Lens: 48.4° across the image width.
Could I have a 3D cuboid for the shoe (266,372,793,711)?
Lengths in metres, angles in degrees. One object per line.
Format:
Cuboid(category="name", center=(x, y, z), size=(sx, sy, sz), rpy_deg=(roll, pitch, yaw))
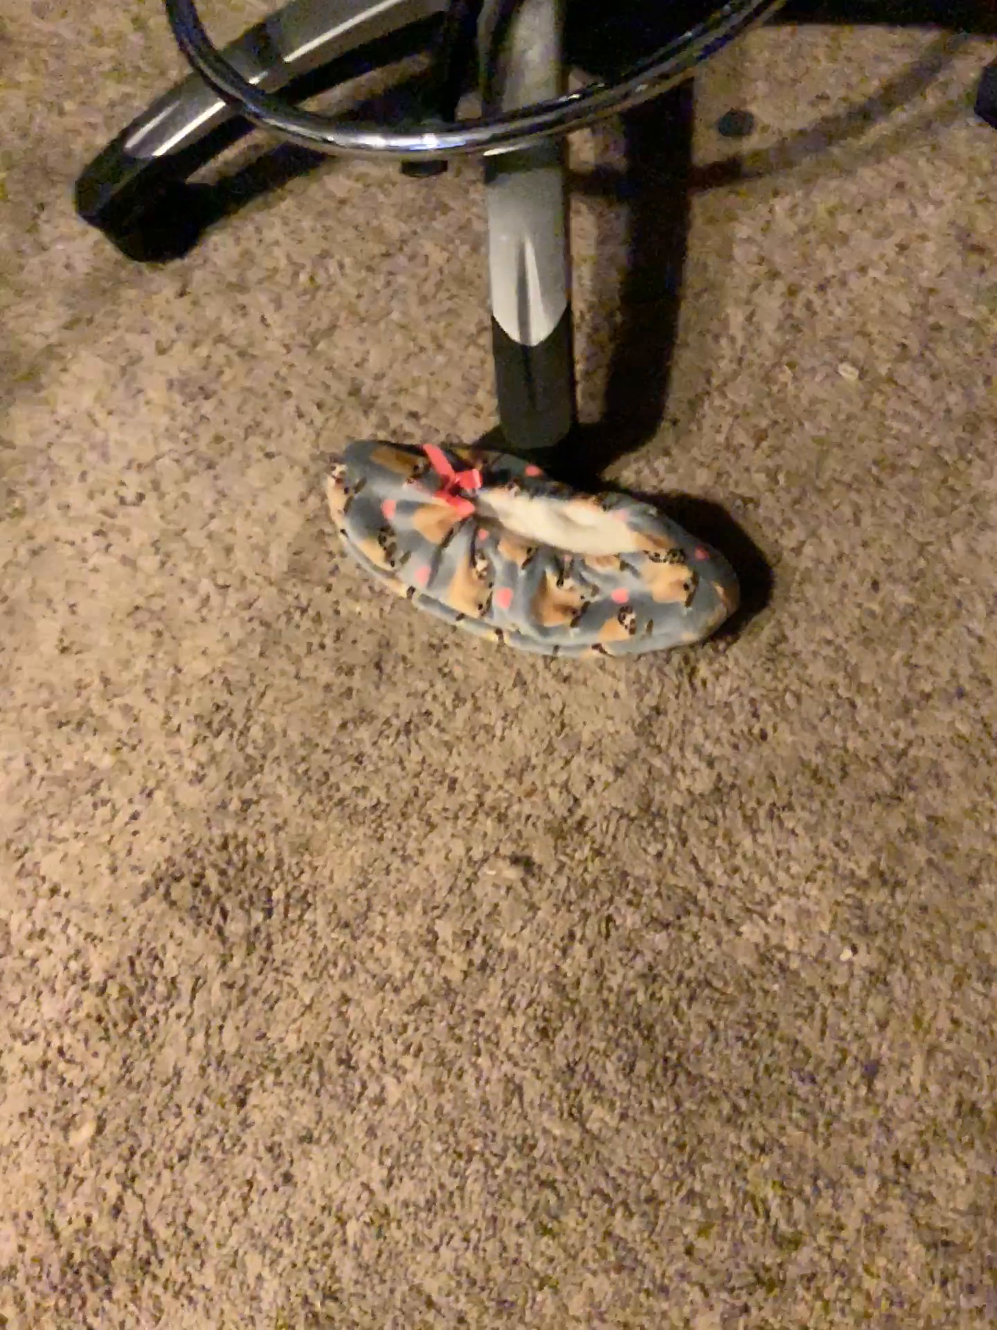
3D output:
Cuboid(category="shoe", center=(0.017, -0.073, 0.619), size=(0.260, 0.070, 0.120), rpy_deg=(15, 76, 21))
